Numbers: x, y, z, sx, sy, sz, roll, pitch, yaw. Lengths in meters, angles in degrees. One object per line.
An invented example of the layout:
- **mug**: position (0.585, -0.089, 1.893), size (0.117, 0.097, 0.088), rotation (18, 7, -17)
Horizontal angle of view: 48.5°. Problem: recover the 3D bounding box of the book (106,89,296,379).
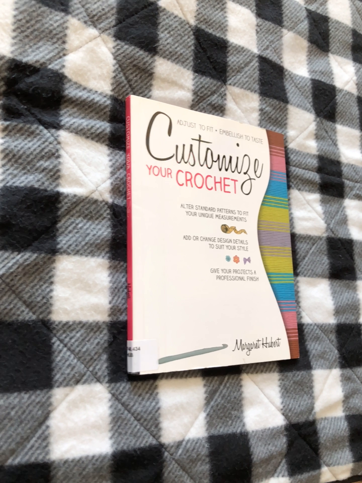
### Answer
- **book**: position (0.023, -0.006, 0.378), size (0.187, 0.020, 0.238), rotation (4, 78, -30)
